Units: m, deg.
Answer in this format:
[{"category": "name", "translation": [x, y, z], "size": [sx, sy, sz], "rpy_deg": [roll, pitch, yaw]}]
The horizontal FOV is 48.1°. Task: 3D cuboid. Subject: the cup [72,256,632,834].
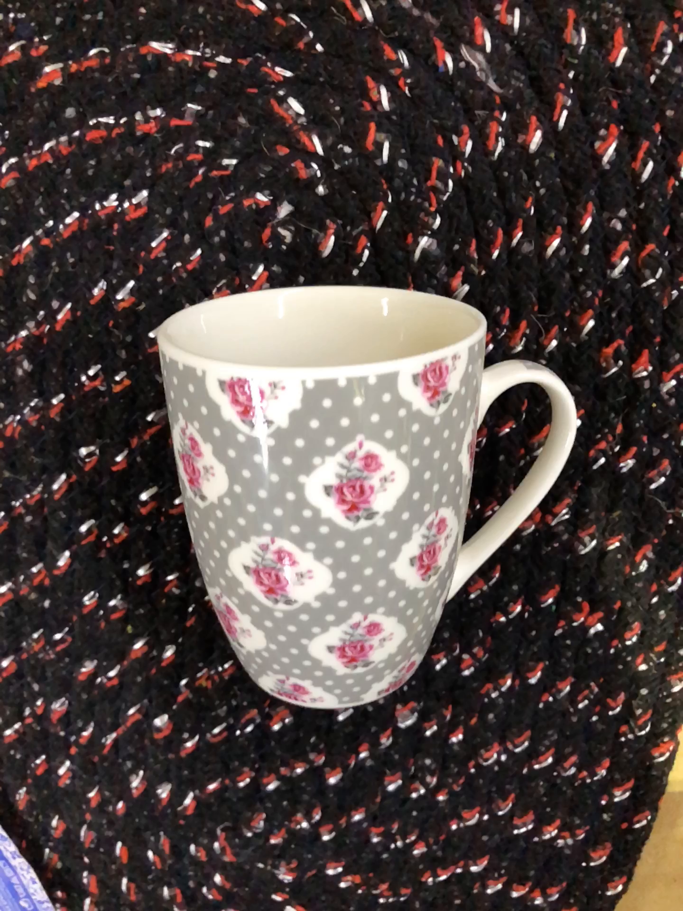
[{"category": "cup", "translation": [-0.003, 0.012, 0.204], "size": [0.110, 0.090, 0.100], "rpy_deg": [-8, 115, -17]}]
